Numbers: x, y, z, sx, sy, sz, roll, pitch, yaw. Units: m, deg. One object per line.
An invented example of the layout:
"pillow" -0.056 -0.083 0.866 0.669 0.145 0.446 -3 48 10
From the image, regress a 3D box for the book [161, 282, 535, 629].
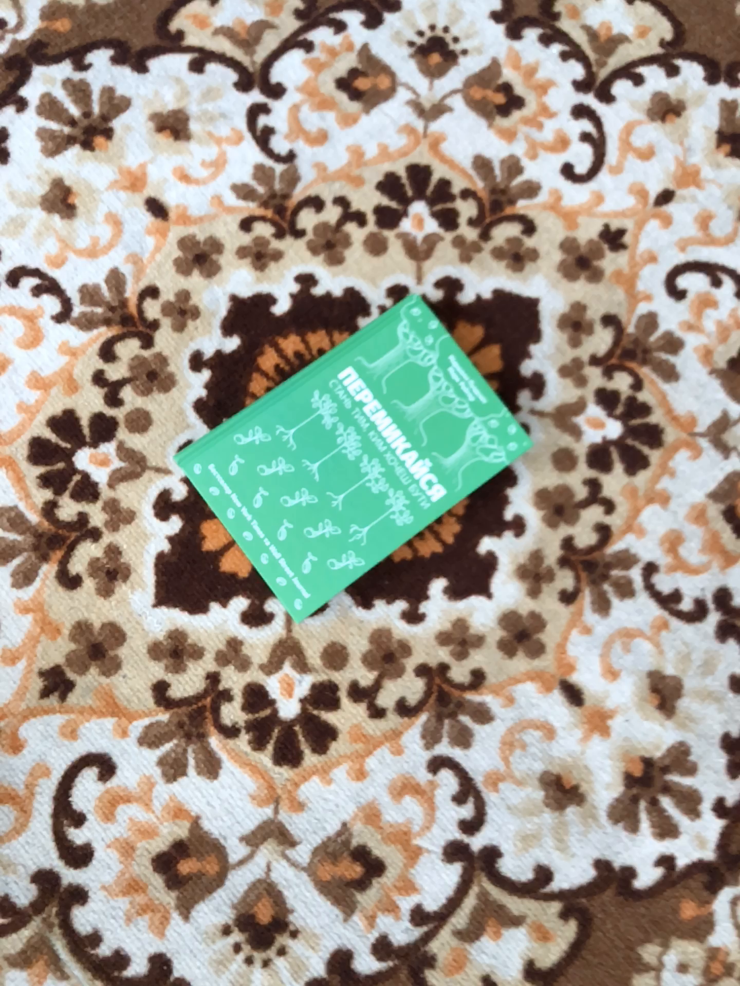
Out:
"book" -0.013 -0.027 0.543 0.202 0.023 0.137 -37 86 -10
